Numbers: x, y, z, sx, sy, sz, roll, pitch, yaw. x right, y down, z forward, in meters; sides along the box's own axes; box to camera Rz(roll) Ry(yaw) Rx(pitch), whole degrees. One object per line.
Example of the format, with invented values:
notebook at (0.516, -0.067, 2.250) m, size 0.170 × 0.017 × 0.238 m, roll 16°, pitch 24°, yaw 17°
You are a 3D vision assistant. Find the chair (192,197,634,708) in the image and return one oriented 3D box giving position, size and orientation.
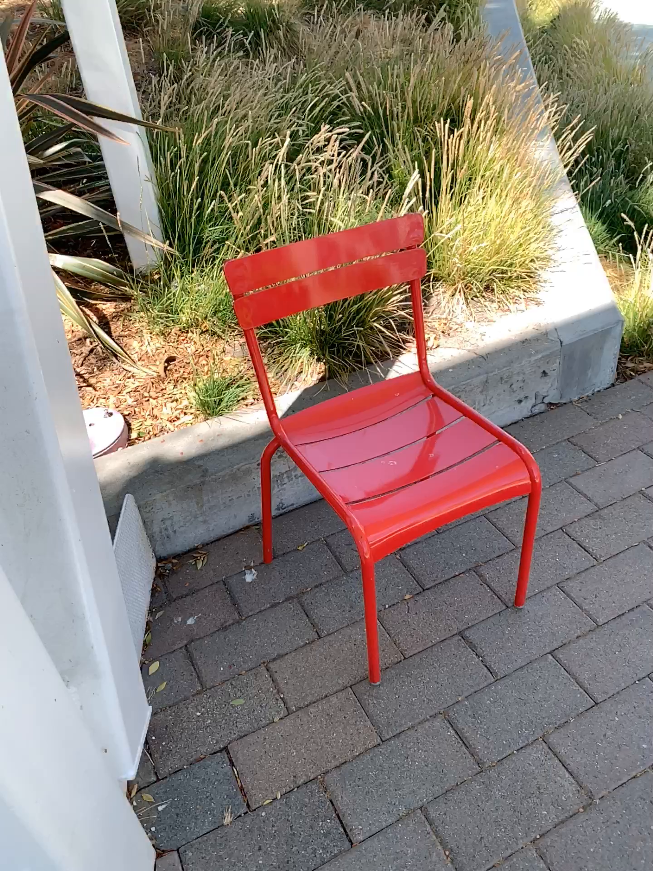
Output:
chair at (0.151, 0.001, 1.499) m, size 0.580 × 0.785 × 0.634 m, roll -21°, pitch 39°, yaw -19°
